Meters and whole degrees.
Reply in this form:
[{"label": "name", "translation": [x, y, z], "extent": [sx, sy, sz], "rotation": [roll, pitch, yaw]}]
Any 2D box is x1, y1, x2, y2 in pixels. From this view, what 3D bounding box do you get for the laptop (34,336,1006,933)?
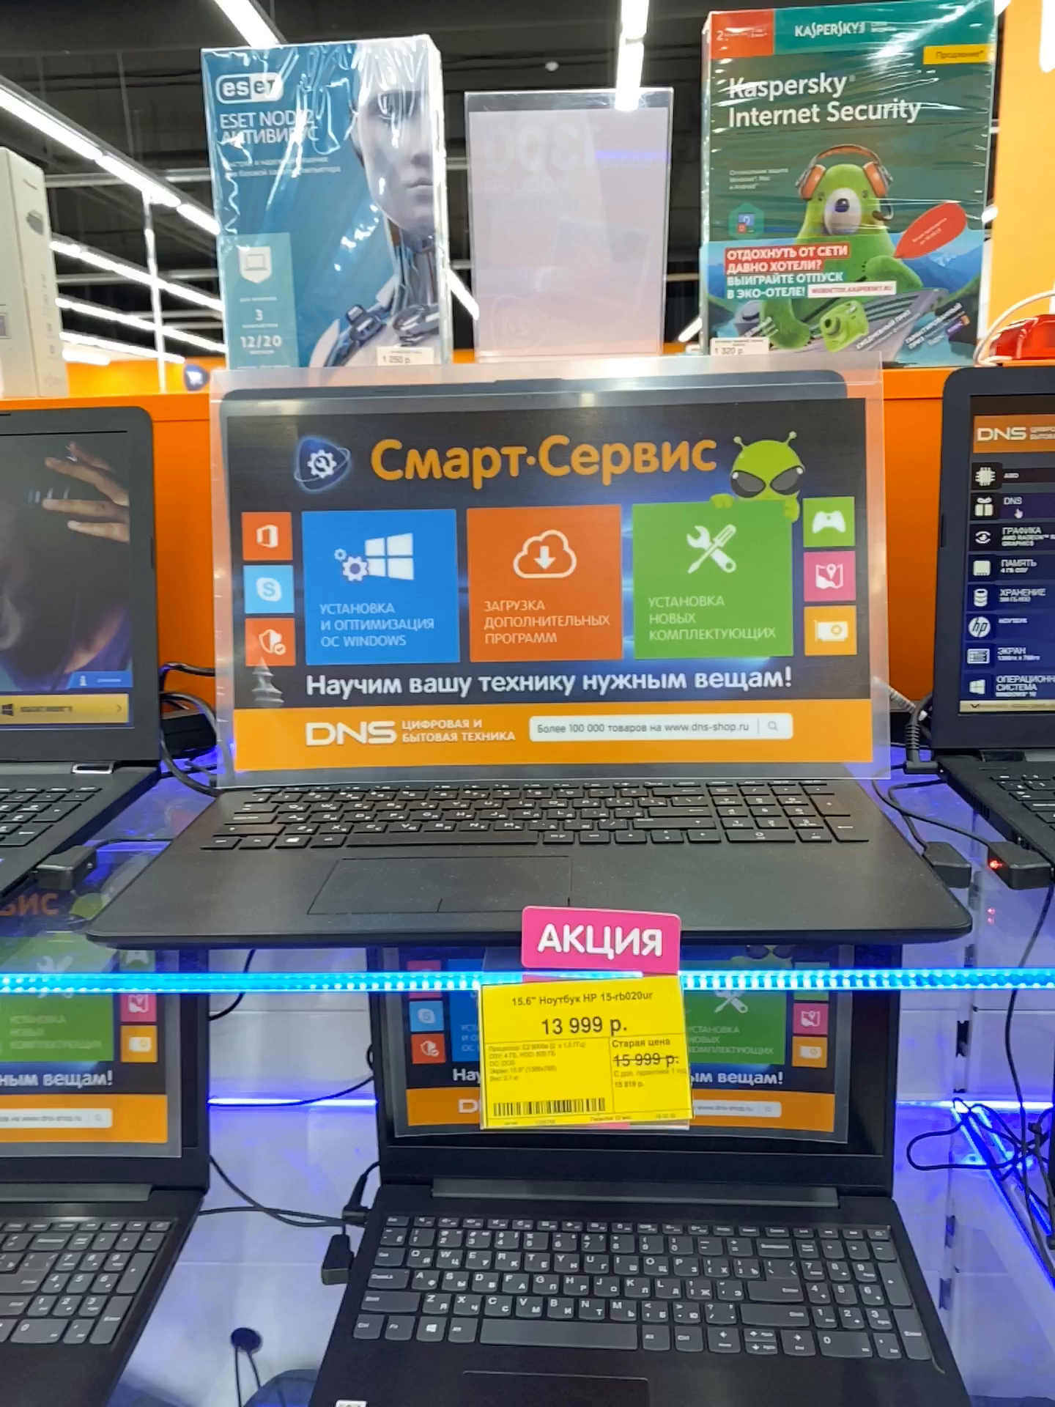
[{"label": "laptop", "translation": [0.002, -0.050, 0.567], "extent": [0.377, 0.235, 0.262], "rotation": [-1, 13, 4]}]
